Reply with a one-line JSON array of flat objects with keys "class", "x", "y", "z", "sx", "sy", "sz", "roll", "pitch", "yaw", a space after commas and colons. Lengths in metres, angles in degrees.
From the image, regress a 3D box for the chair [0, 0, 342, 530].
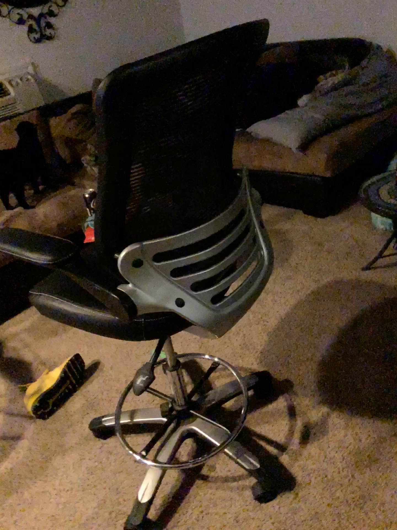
[{"class": "chair", "x": -0.121, "y": 0.056, "z": 1.135, "sx": 0.700, "sy": 1.120, "sz": 0.780, "roll": 14, "pitch": 40, "yaw": 34}]
